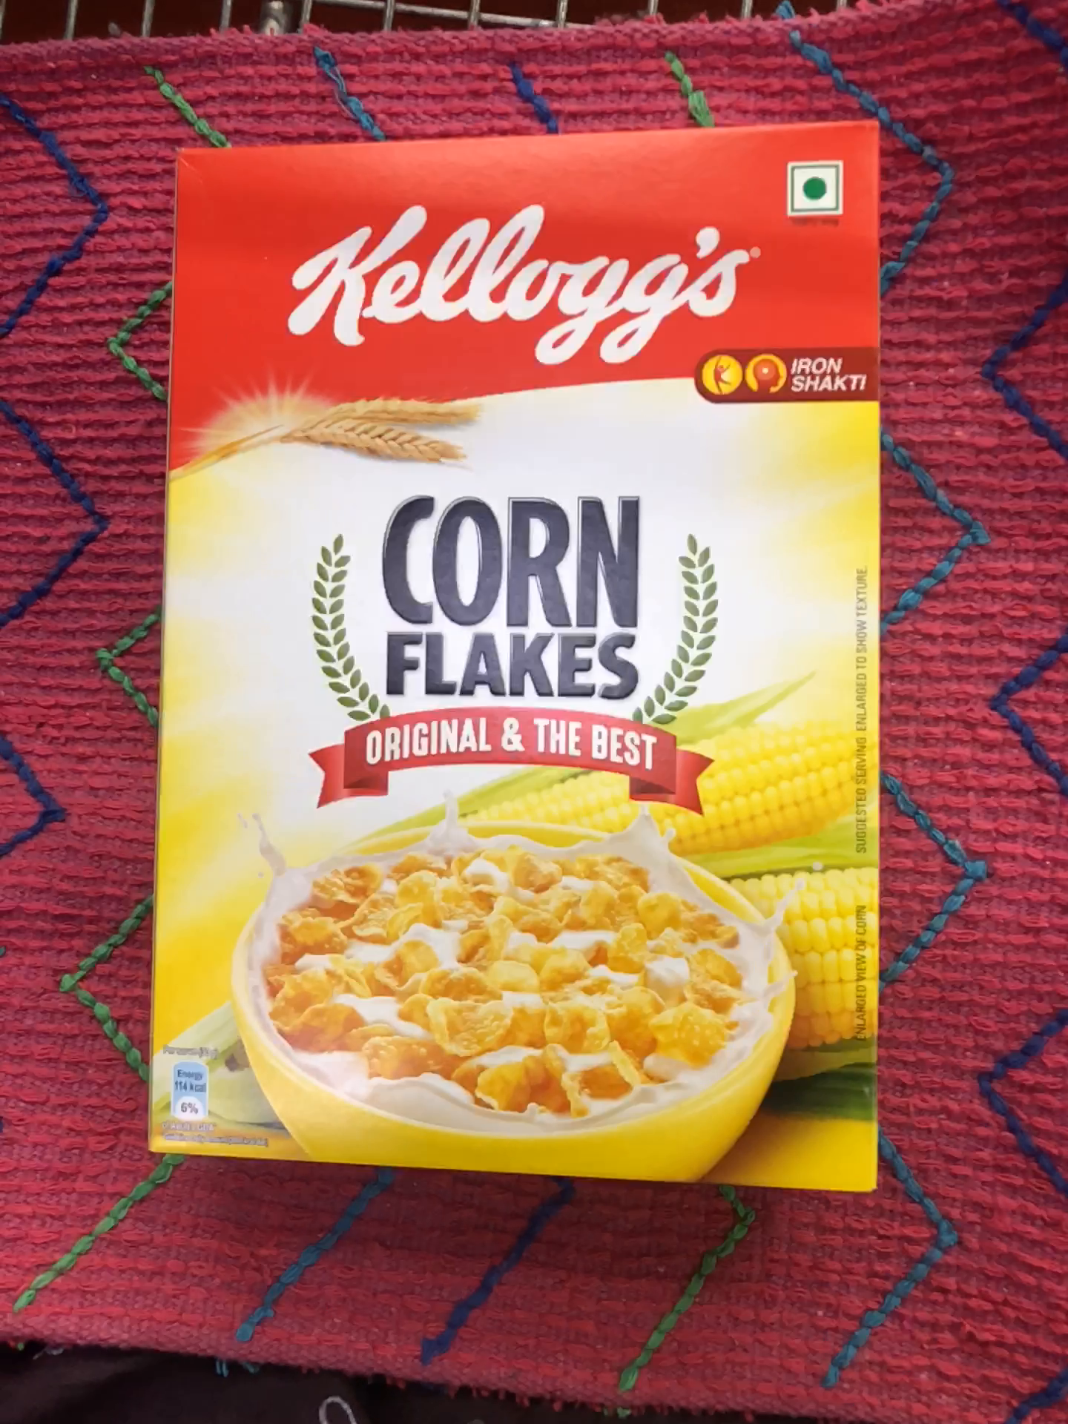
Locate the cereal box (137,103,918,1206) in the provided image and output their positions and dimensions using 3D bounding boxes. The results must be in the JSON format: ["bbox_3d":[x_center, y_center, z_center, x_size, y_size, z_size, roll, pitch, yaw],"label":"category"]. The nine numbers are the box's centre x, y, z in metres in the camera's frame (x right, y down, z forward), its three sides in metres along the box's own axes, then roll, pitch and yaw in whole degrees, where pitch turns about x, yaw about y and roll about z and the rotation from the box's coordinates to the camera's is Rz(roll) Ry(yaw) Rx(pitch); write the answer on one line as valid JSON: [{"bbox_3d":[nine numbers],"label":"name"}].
[{"bbox_3d":[0.000,-0.015,0.324,0.190,0.070,0.260,0,88,7],"label":"cereal box"}]
